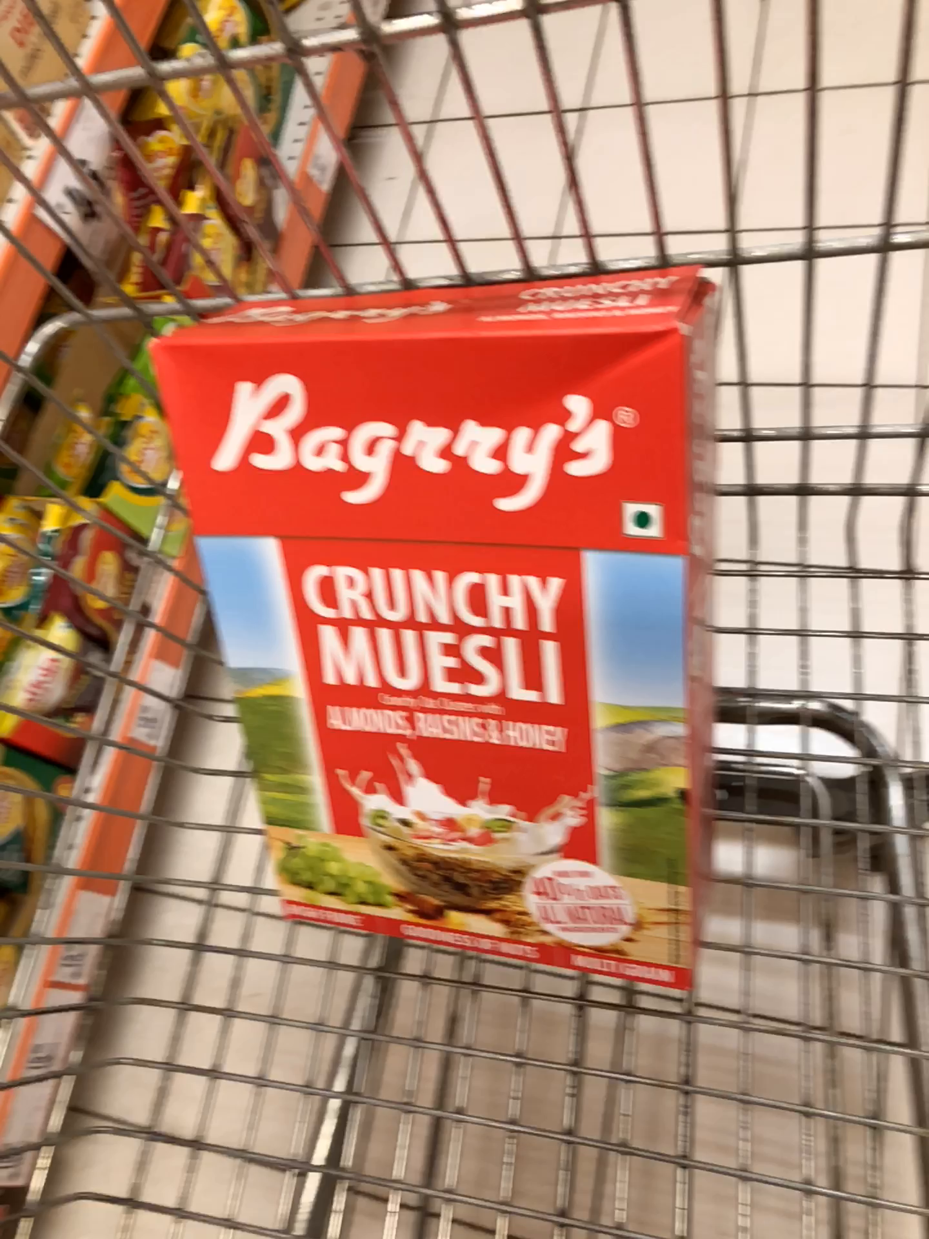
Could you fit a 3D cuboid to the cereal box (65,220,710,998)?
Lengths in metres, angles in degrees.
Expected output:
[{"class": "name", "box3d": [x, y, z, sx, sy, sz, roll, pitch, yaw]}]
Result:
[{"class": "cereal box", "box3d": [-0.009, 0.009, 0.388, 0.190, 0.279, 0.060, 3, 33, 19]}]
